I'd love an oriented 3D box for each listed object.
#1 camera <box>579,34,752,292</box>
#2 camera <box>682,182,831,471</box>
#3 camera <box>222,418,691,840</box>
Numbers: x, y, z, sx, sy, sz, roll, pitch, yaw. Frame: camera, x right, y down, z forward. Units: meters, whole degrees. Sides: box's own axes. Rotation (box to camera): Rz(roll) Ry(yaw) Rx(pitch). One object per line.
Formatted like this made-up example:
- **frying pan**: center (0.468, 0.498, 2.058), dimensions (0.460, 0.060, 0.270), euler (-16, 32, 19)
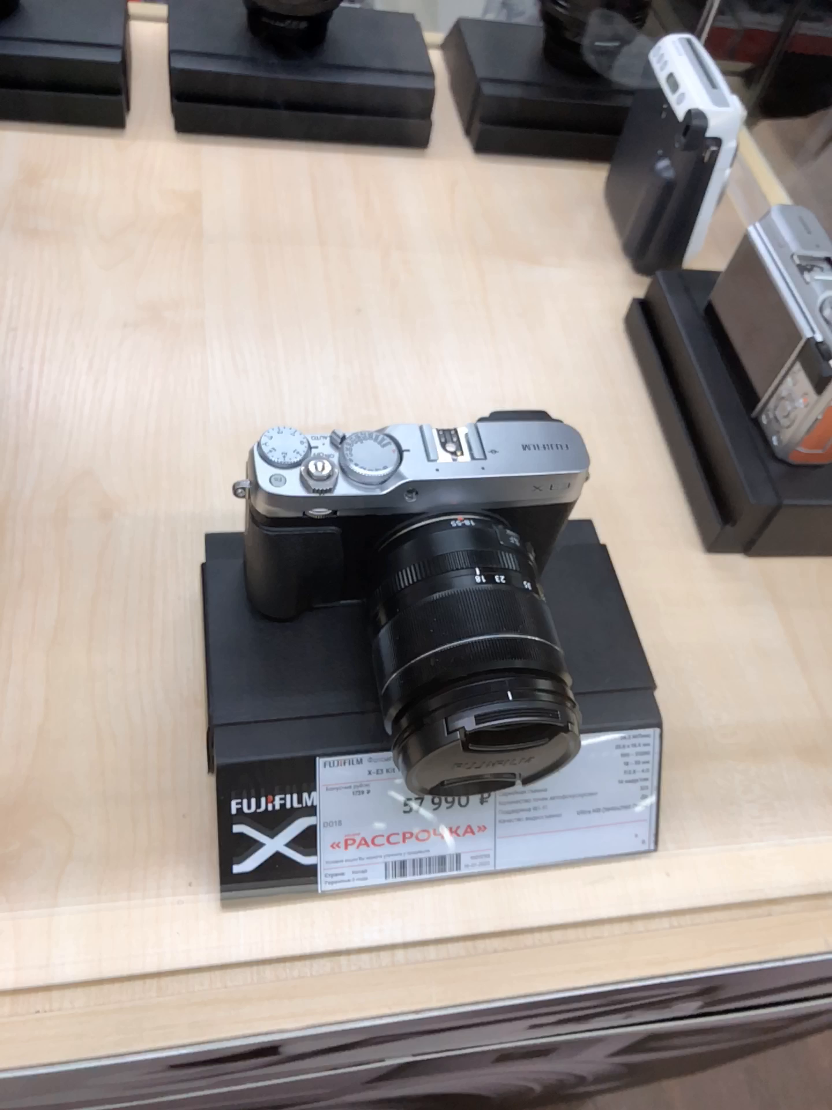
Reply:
- **camera**: center (0.142, -0.230, 0.551), dimensions (0.045, 0.109, 0.088), euler (-1, 55, -10)
- **camera**: center (0.201, -0.114, 0.463), dimensions (0.077, 0.068, 0.132), euler (-1, 54, -12)
- **camera**: center (0.002, 0.022, 0.325), dimensions (0.131, 0.080, 0.116), euler (-2, 55, -14)
